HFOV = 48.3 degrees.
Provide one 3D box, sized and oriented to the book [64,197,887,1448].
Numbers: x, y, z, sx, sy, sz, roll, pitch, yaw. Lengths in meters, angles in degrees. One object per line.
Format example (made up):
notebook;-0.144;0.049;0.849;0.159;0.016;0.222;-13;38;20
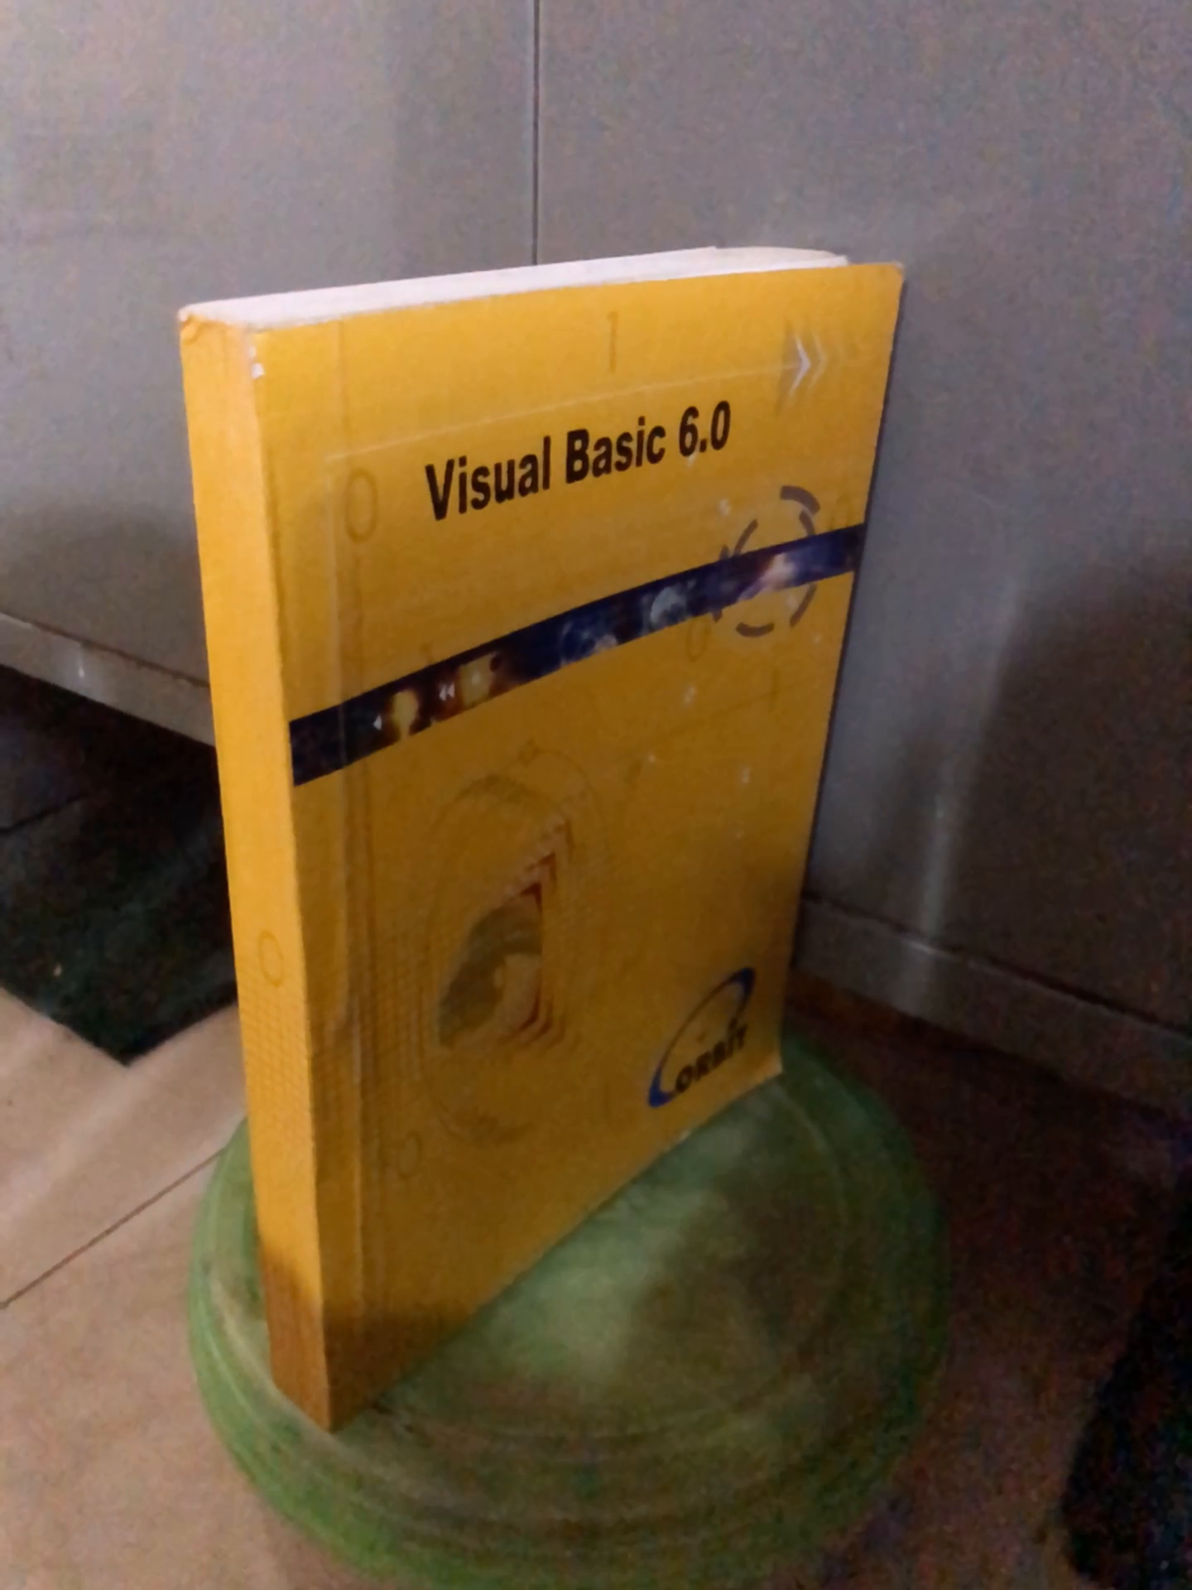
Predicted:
book;-0.010;-0.003;0.358;0.040;0.279;0.221;22;34;33
